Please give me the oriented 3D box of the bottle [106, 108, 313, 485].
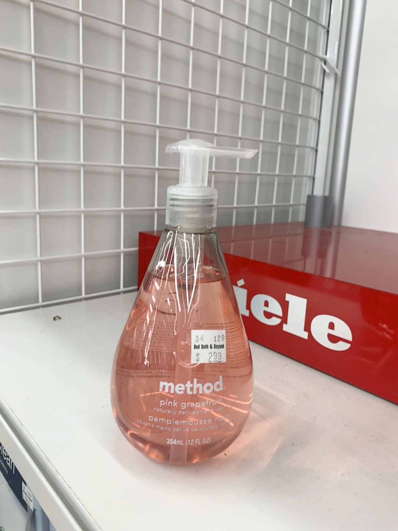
[{"bbox_3d":[-0.003,0.012,0.213,0.080,0.160,0.078,3,12,-1],"label":"bottle"}]
